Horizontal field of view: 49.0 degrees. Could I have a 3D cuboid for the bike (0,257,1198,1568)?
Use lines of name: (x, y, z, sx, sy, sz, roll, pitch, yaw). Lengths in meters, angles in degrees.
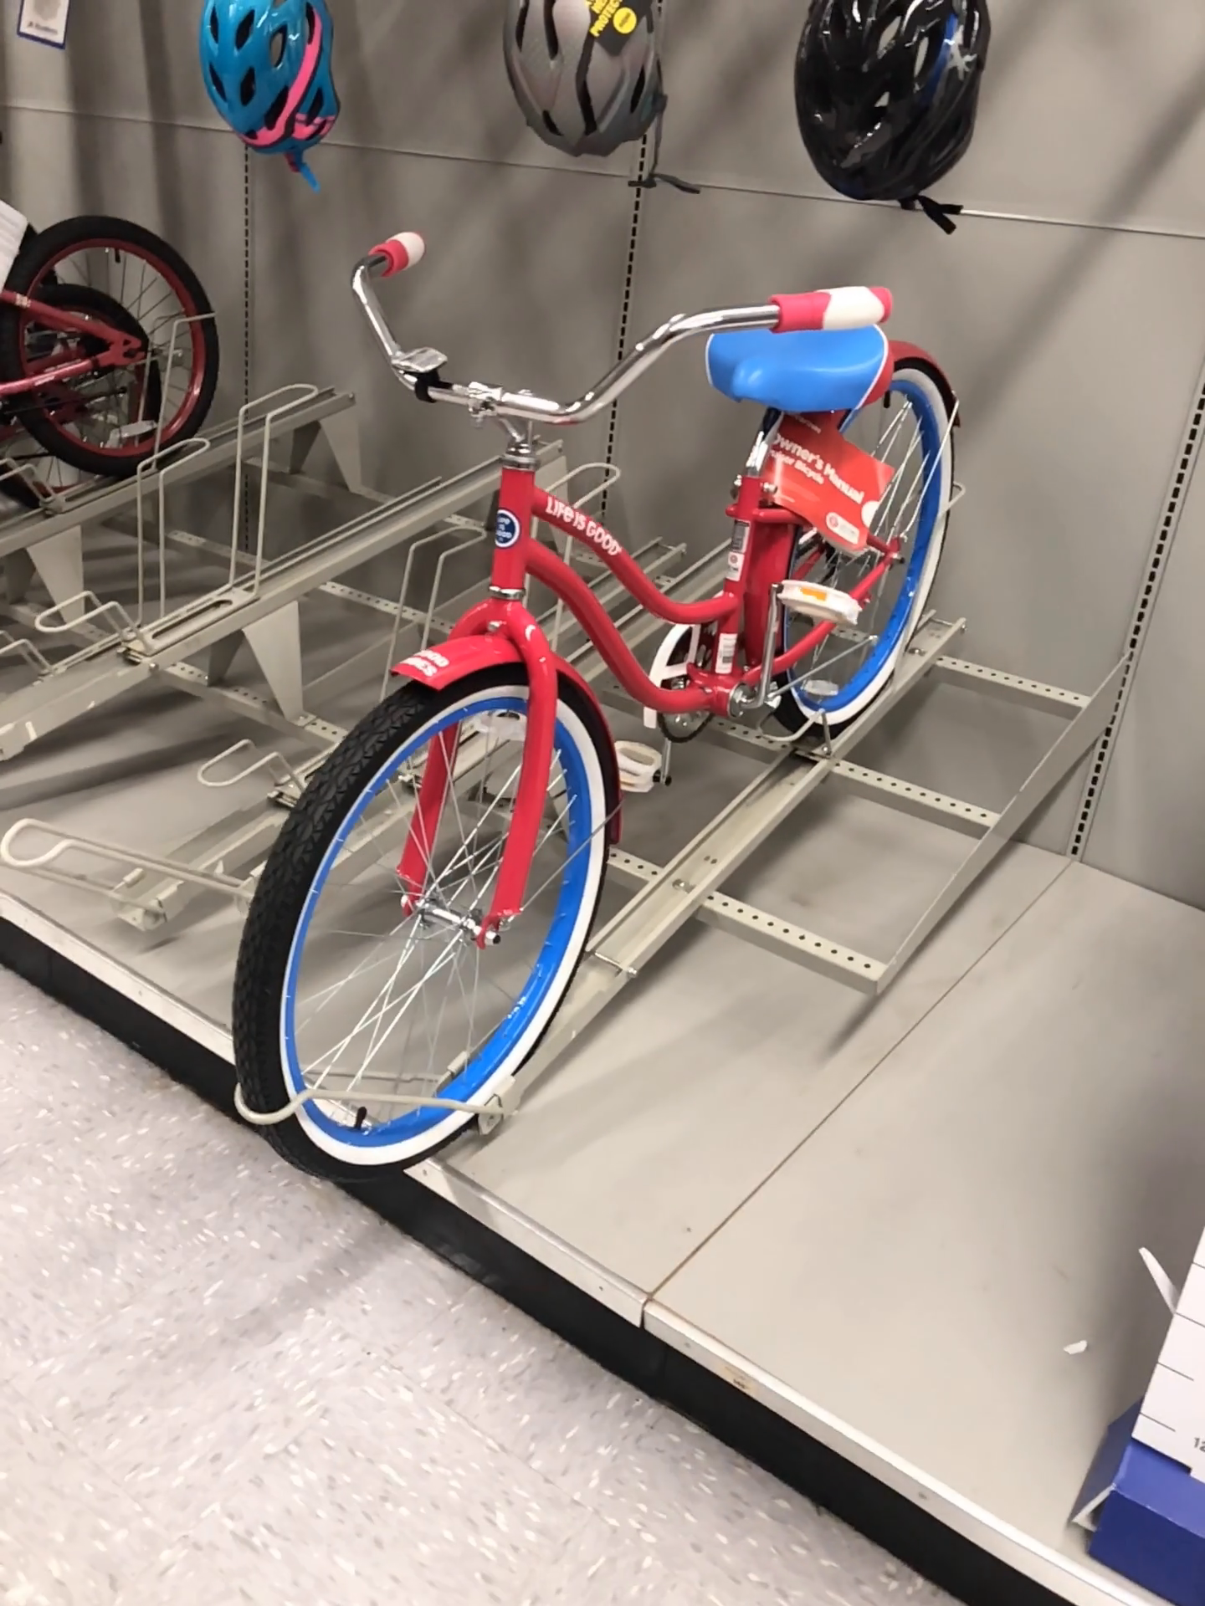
bike: (0.068, -0.116, 1.863, 0.811, 0.676, 1.611, 21, 43, 29)
